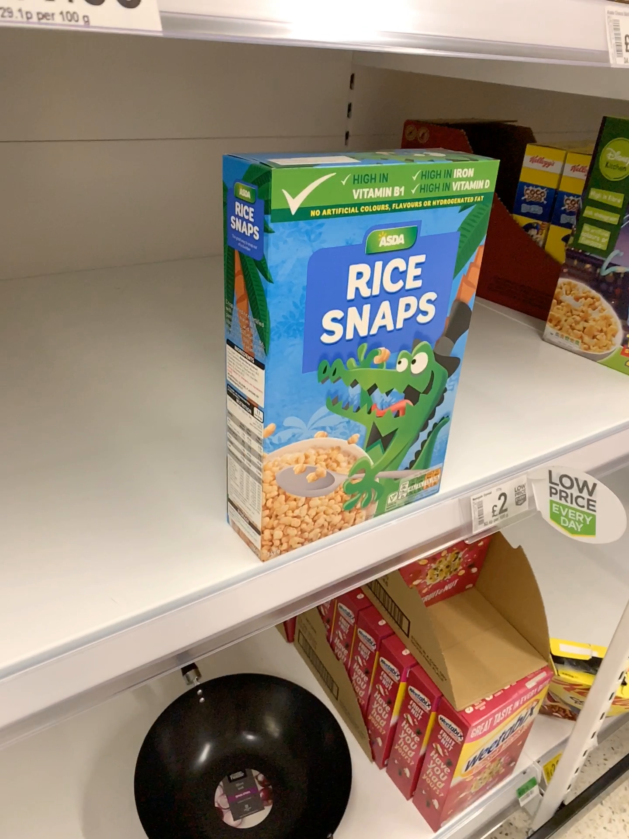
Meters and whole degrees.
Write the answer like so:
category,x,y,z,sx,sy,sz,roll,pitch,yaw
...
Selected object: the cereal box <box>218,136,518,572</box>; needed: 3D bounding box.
category,x,y,z,sx,sy,sz,roll,pitch,yaw
cereal box,0.030,-0.050,0.483,0.191,0.287,0.070,-16,36,-32
